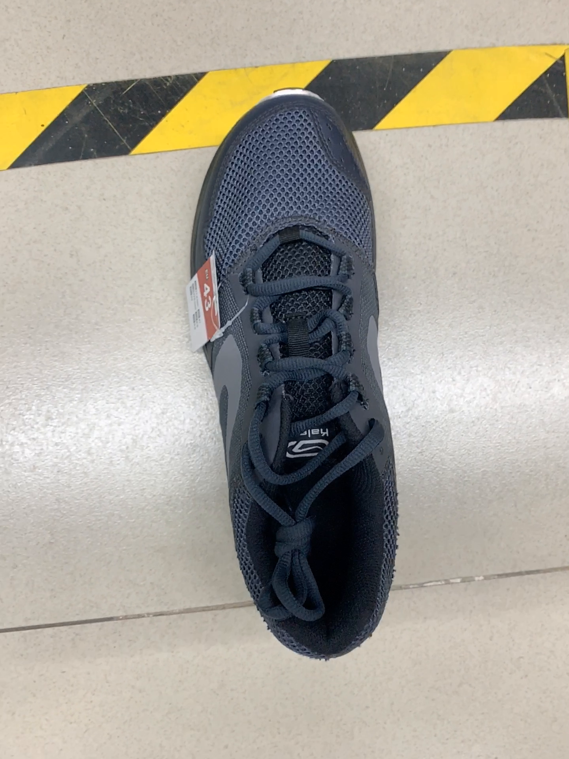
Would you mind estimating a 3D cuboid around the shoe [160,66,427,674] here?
[{"bbox_3d":[0.003,-0.006,0.312,0.110,0.070,0.280,-3,88,-1],"label":"shoe"}]
